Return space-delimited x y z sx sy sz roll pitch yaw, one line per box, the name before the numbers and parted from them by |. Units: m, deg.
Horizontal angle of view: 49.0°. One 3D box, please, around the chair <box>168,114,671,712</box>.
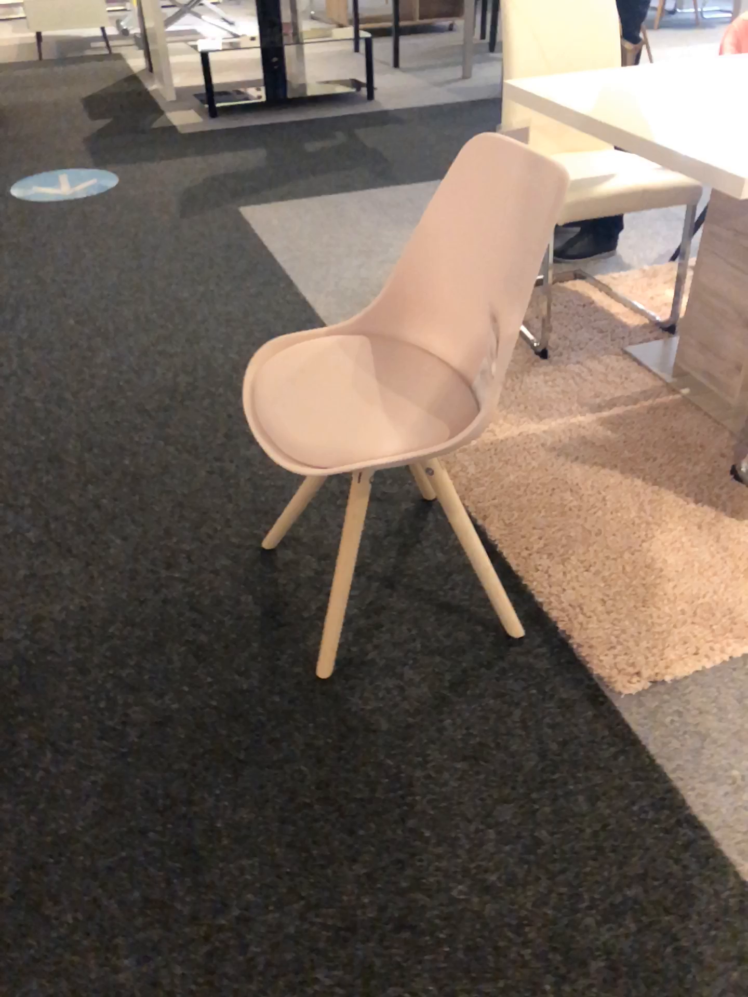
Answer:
chair | 0.034 -0.172 1.439 0.561 0.765 0.572 -14 39 -16
